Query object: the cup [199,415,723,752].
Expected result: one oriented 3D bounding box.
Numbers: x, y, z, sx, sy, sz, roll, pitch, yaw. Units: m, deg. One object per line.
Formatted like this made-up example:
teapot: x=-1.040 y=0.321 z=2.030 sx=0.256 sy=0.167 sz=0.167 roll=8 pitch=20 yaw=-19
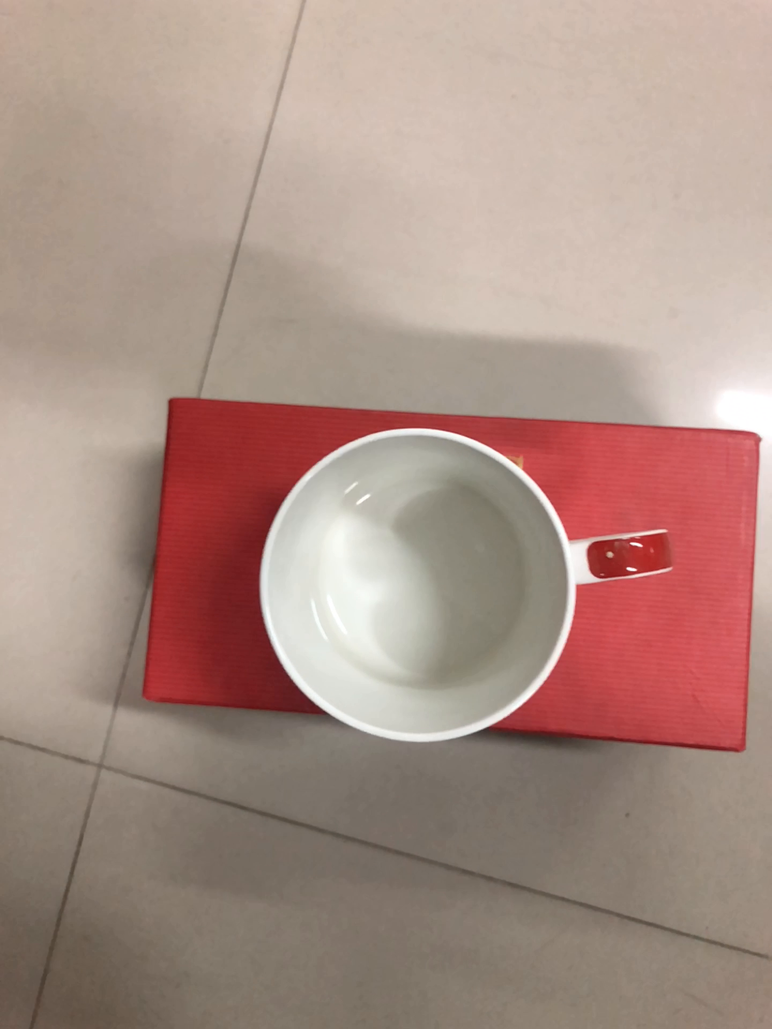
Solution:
cup: x=0.021 y=0.021 z=0.273 sx=0.130 sy=0.100 sz=0.080 roll=-3 pitch=87 yaw=4
